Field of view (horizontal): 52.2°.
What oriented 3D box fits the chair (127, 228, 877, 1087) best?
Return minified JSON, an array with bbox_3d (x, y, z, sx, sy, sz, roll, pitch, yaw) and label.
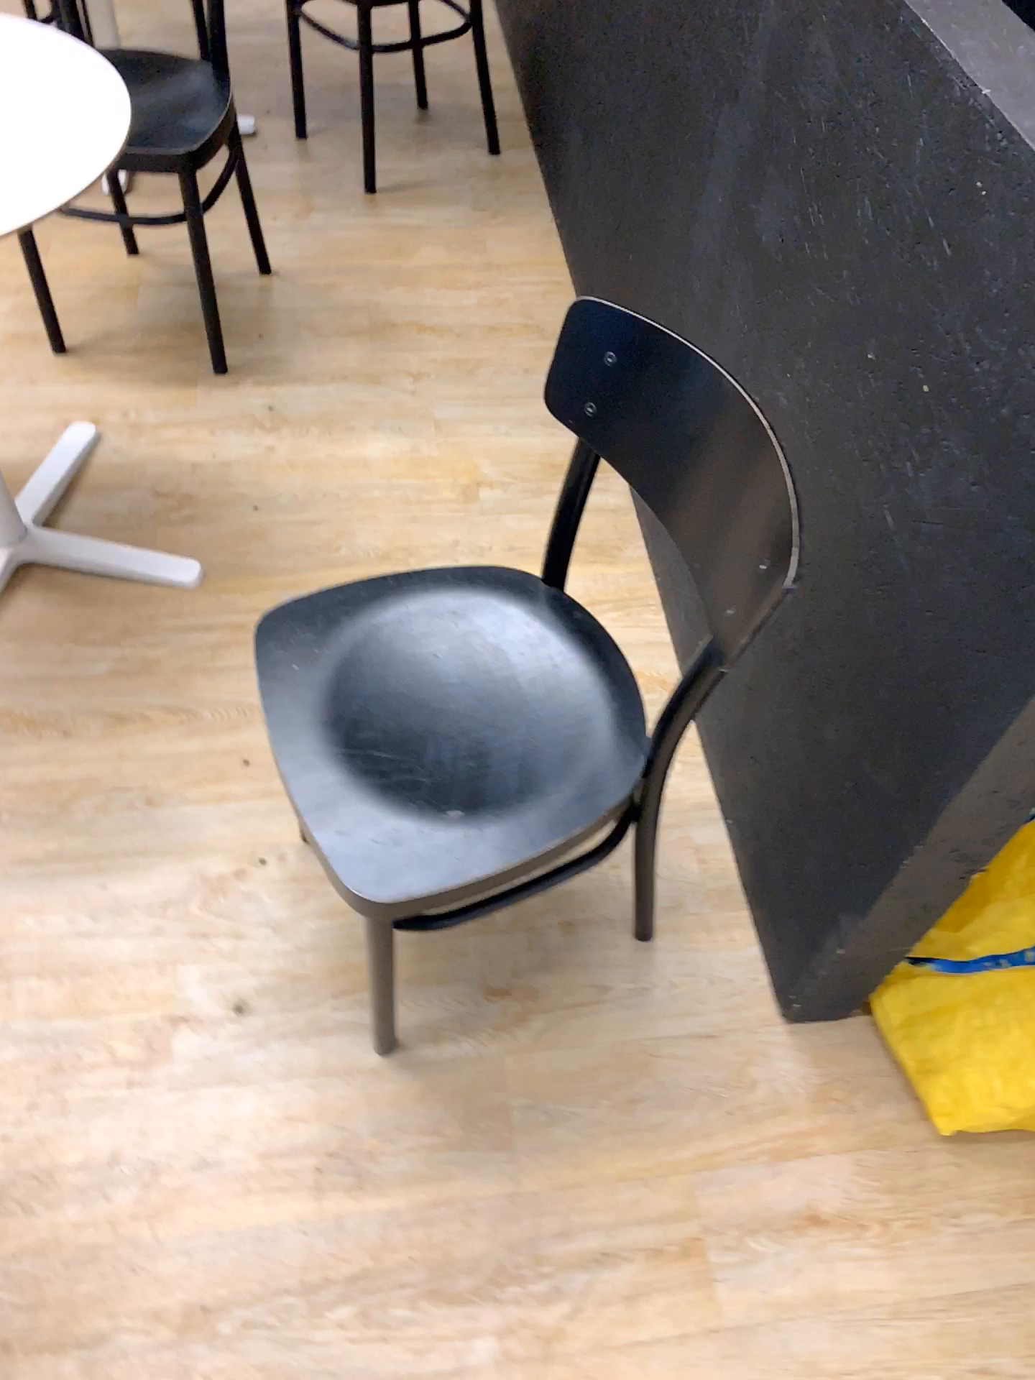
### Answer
[{"bbox_3d":[-0.057,0.000,1.089,0.440,0.698,0.441,-17,55,-18],"label":"chair"}]
